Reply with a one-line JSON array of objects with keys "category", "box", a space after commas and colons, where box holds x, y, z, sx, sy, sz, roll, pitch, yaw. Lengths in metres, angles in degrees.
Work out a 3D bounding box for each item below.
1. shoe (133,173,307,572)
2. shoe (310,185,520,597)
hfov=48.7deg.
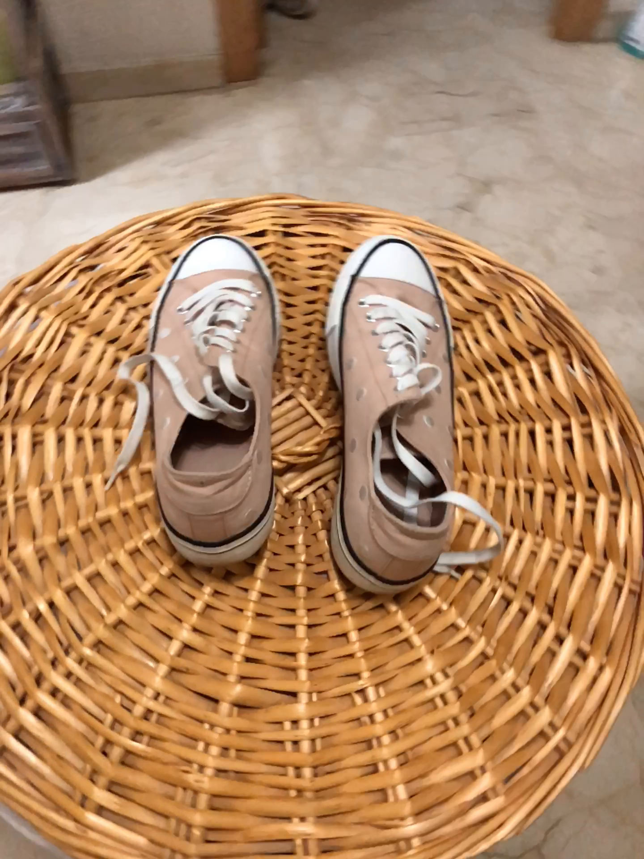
[{"category": "shoe", "box": [-0.065, -0.045, 0.456, 0.087, 0.085, 0.247, -5, 59, -4]}, {"category": "shoe", "box": [0.050, -0.027, 0.468, 0.092, 0.095, 0.246, 7, 61, -12]}]
